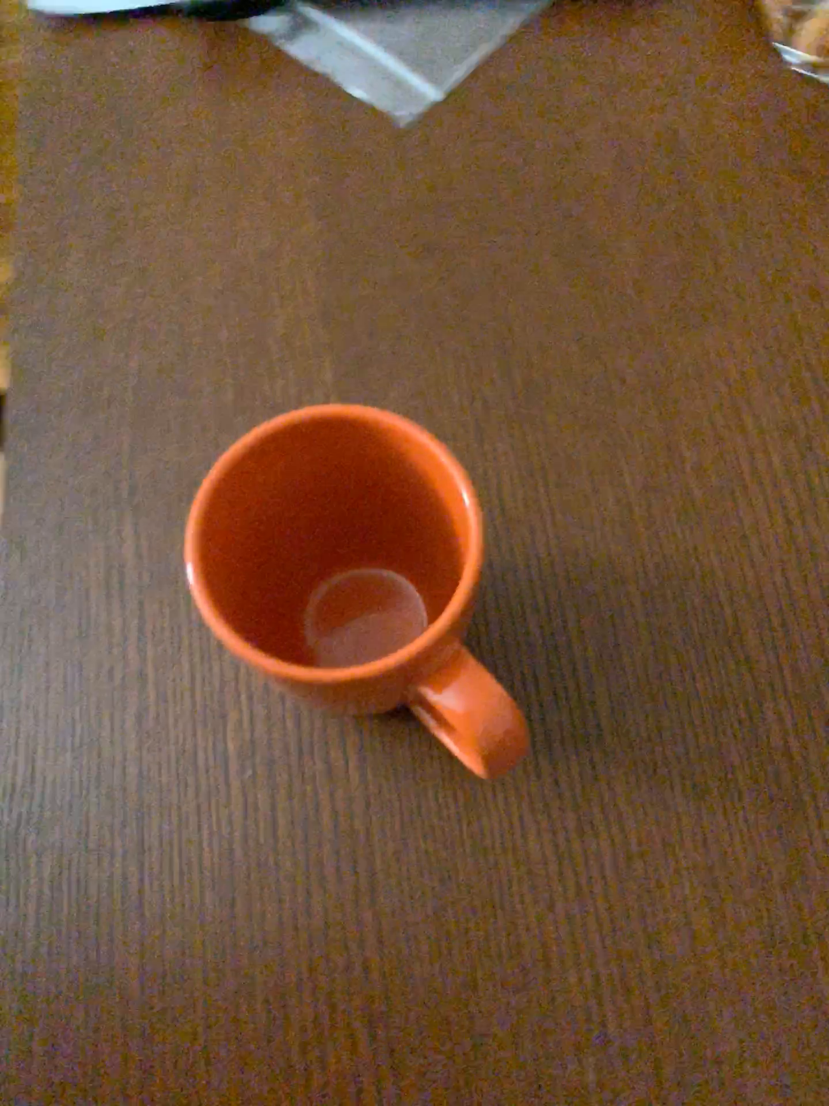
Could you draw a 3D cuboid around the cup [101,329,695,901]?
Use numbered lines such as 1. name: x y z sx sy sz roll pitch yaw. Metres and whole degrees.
1. cup: -0.005 0.026 0.284 0.130 0.110 0.100 42 77 16
